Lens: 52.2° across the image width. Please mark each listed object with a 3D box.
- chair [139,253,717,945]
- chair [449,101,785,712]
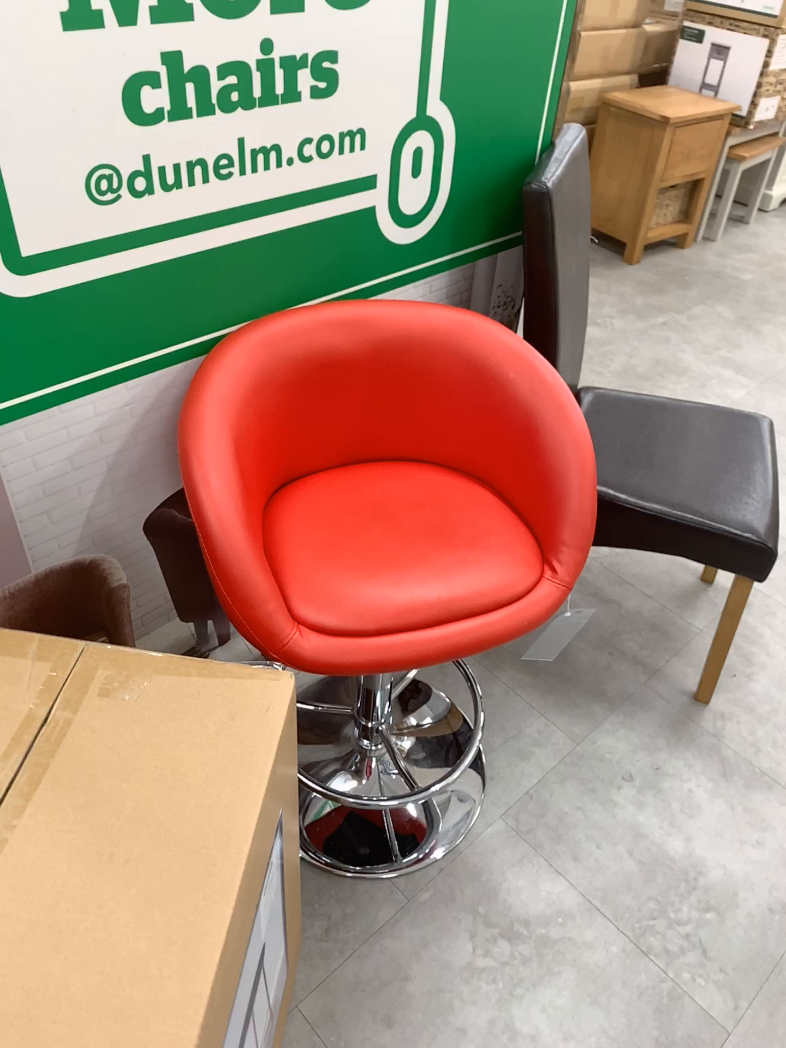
[{"bbox_3d":[-0.014,0.105,1.136,0.495,0.760,0.481,-12,43,-18],"label":"chair"},{"bbox_3d":[0.461,-0.189,1.478,0.518,0.919,0.448,15,41,13],"label":"chair"}]
